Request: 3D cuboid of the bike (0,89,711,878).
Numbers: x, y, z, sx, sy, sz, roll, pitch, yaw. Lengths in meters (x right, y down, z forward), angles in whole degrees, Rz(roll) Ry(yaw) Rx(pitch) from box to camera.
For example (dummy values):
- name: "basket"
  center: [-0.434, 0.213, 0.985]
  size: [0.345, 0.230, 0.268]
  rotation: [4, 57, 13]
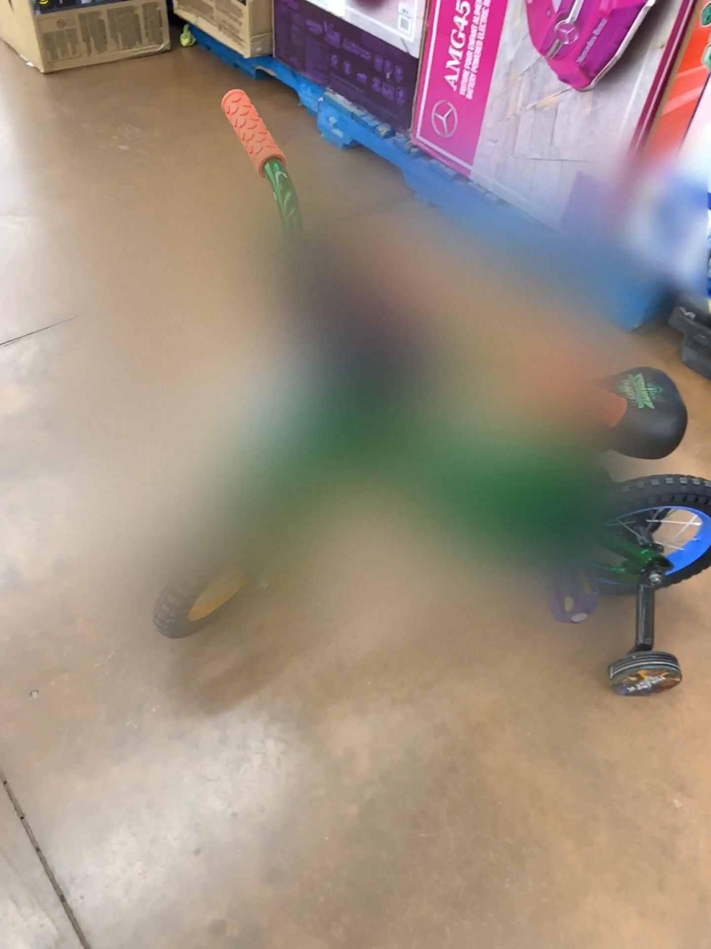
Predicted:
- name: "bike"
  center: [0.184, 0.024, 0.861]
  size: [0.829, 0.677, 0.533]
  rotation: [-3, 49, -9]
